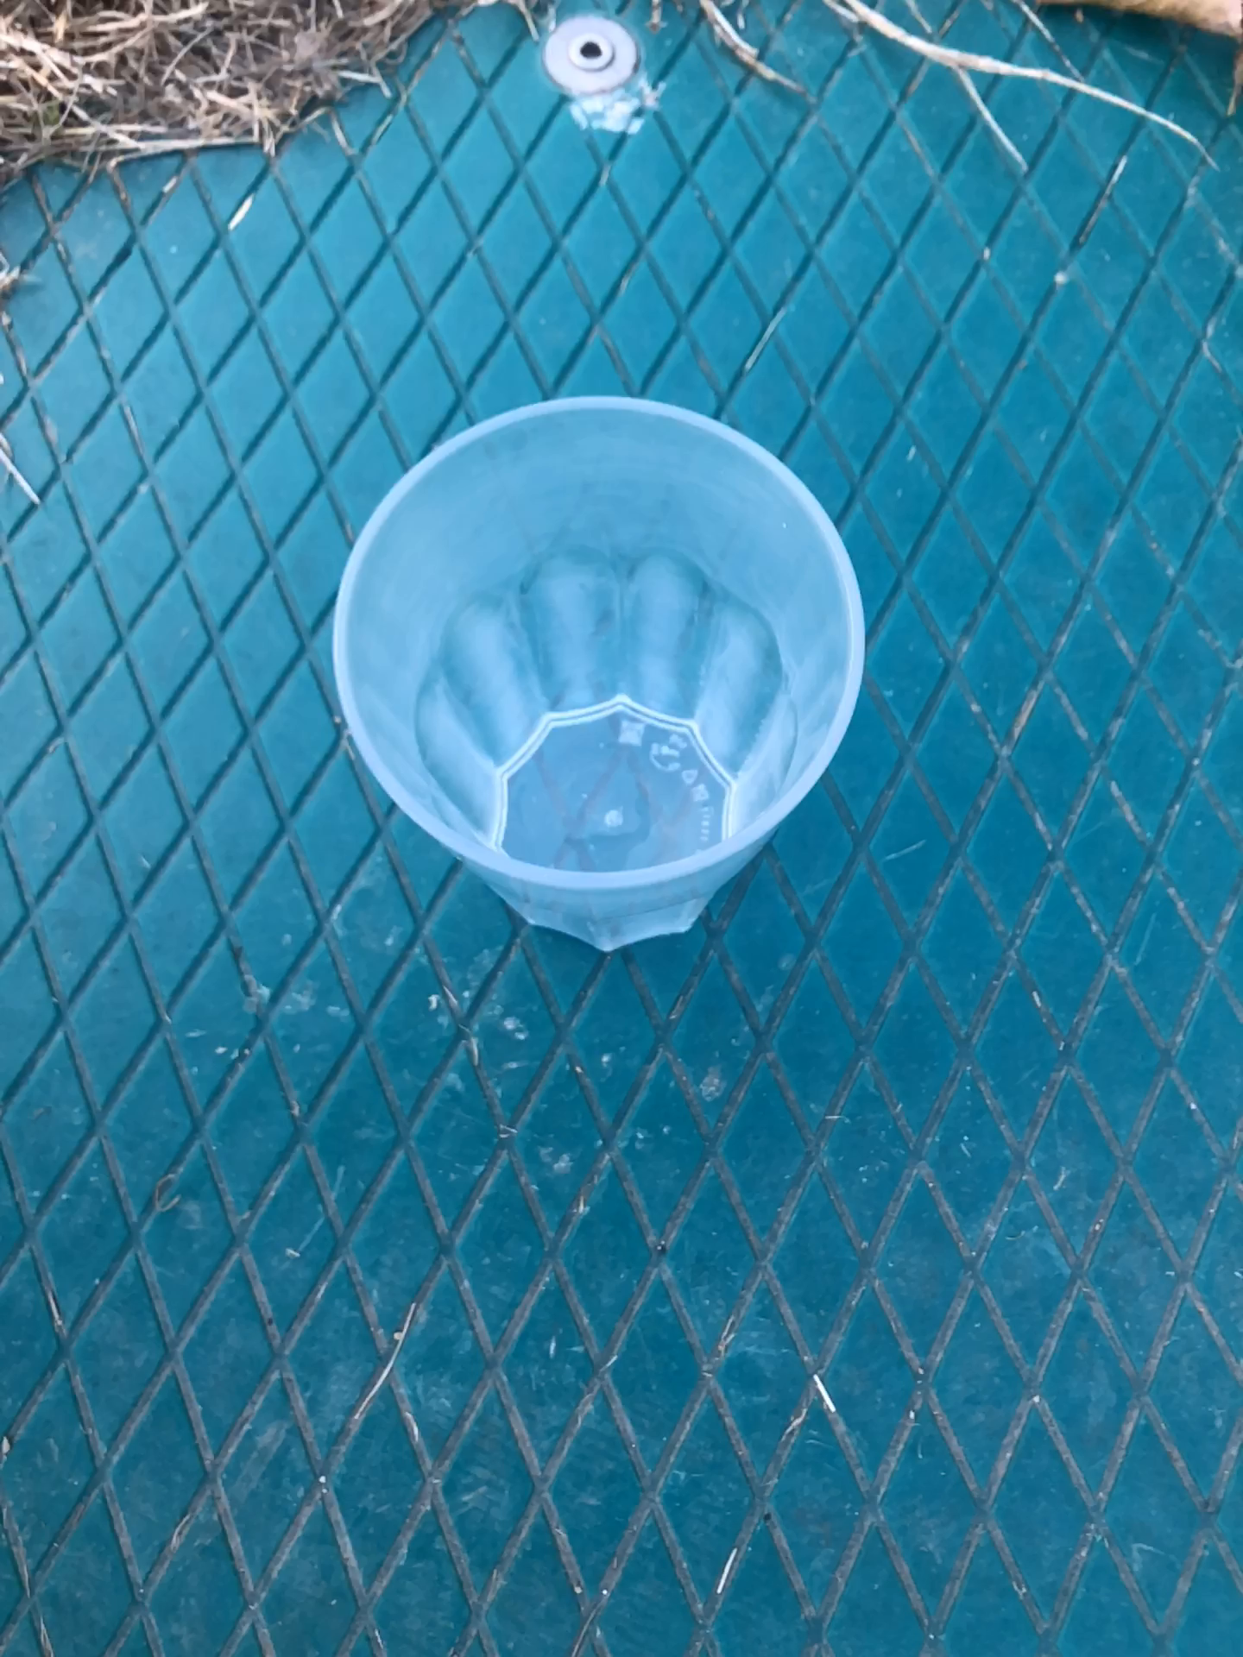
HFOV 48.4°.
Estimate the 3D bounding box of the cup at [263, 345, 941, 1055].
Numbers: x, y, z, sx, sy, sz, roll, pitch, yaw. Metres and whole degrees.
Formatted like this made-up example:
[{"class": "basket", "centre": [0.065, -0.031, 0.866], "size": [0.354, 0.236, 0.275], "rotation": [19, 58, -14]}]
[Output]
[{"class": "cup", "centre": [-0.006, -0.017, 0.283], "size": [0.091, 0.113, 0.088], "rotation": [0, 73, -1]}]
